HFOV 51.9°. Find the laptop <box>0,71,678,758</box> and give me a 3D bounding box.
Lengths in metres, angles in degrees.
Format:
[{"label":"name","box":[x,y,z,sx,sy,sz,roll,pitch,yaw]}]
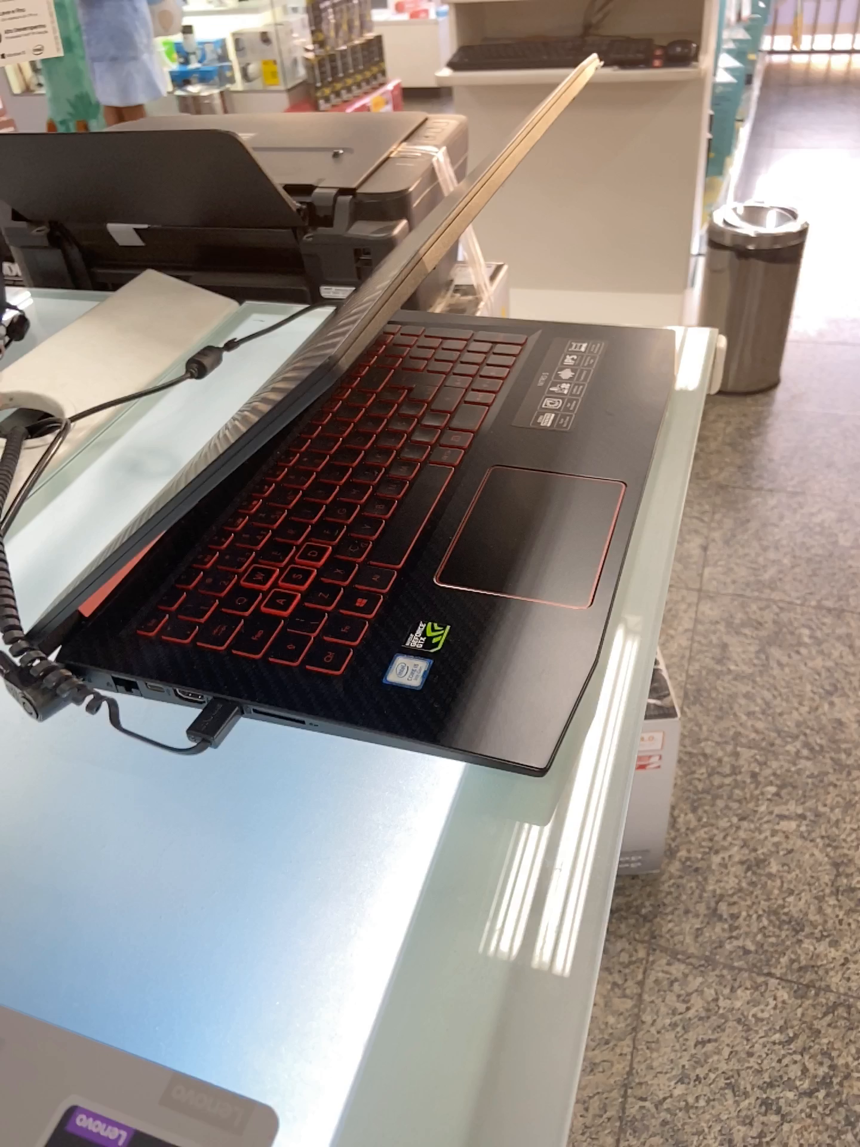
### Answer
[{"label":"laptop","box":[-0.019,-0.127,0.465,0.234,0.163,0.382,8,42,18]}]
